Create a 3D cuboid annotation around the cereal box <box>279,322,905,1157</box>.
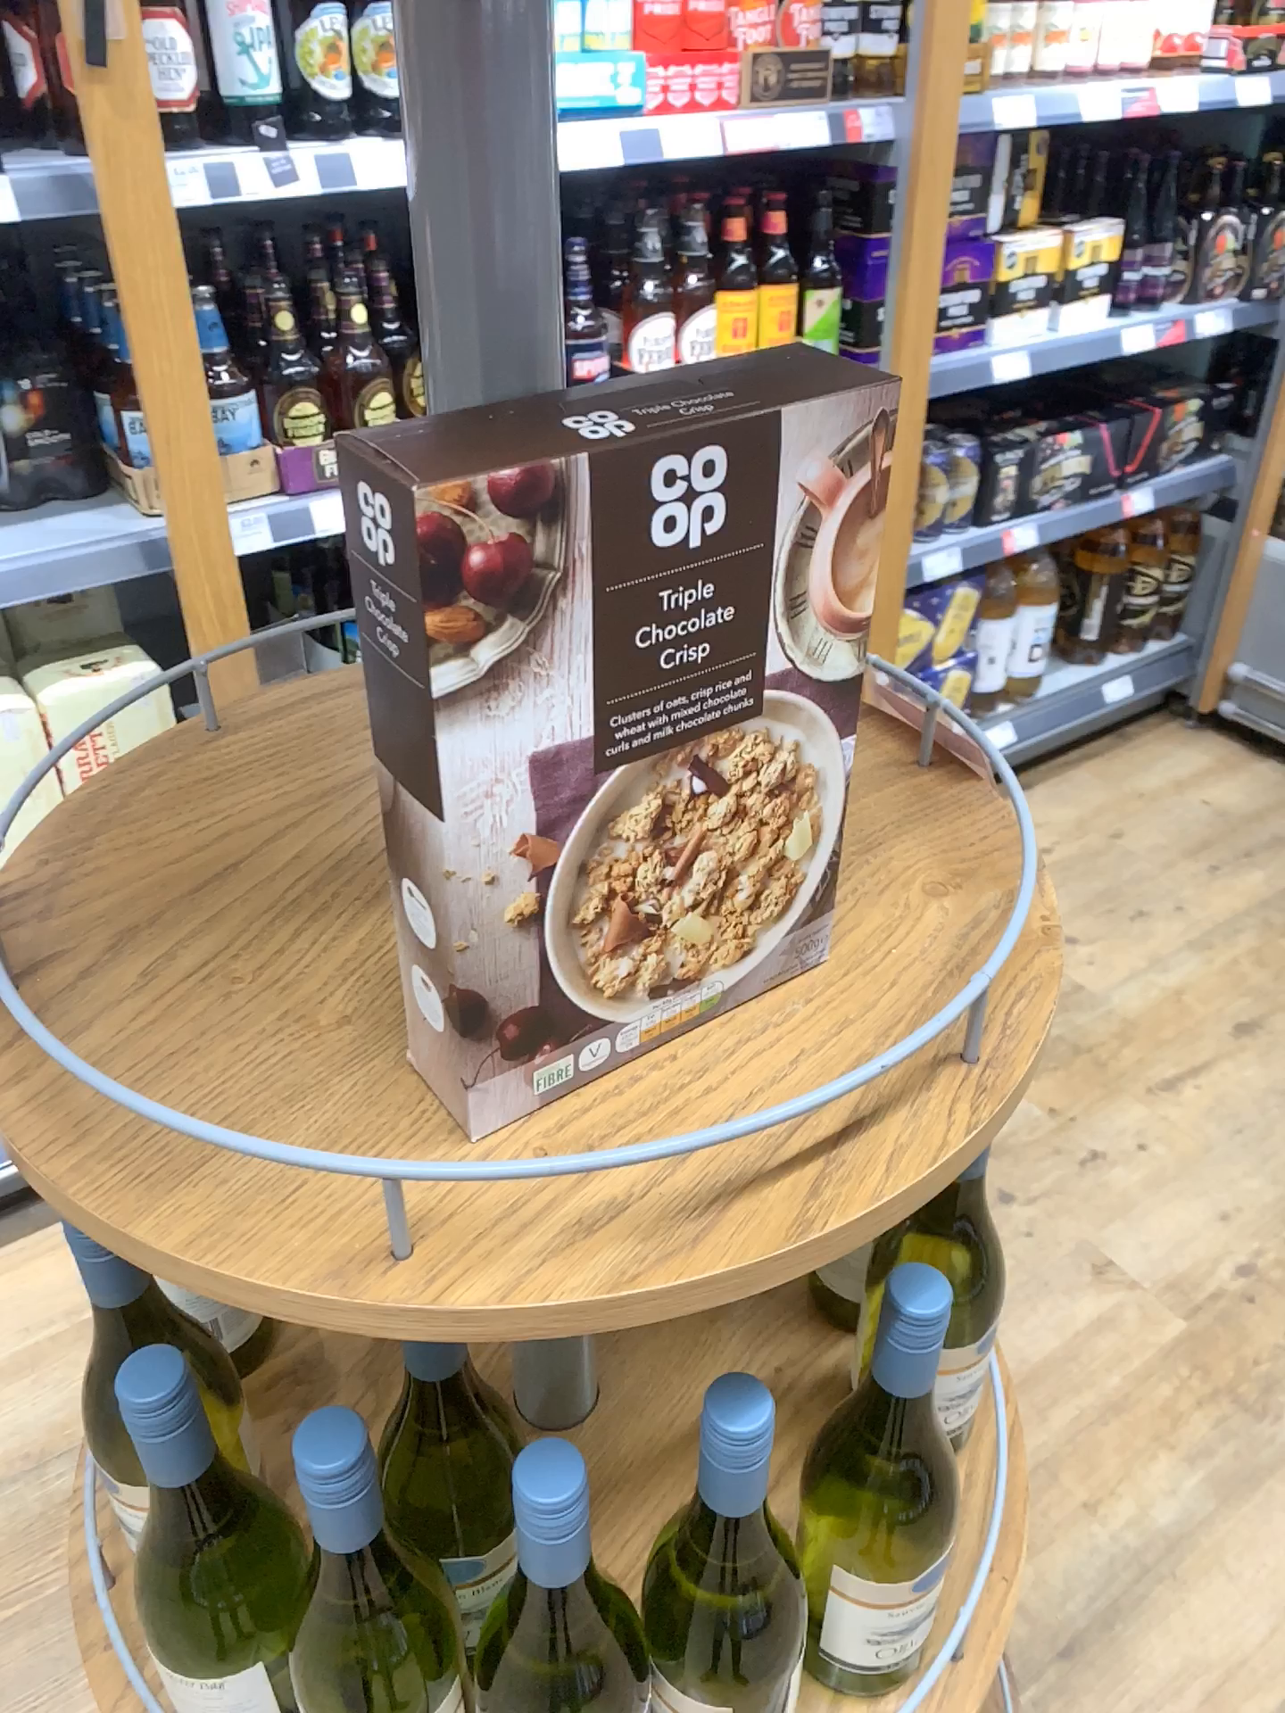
[{"bbox_3d":[-0.009,-0.038,0.460,0.191,0.247,0.050,-22,41,-29],"label":"cereal box"}]
